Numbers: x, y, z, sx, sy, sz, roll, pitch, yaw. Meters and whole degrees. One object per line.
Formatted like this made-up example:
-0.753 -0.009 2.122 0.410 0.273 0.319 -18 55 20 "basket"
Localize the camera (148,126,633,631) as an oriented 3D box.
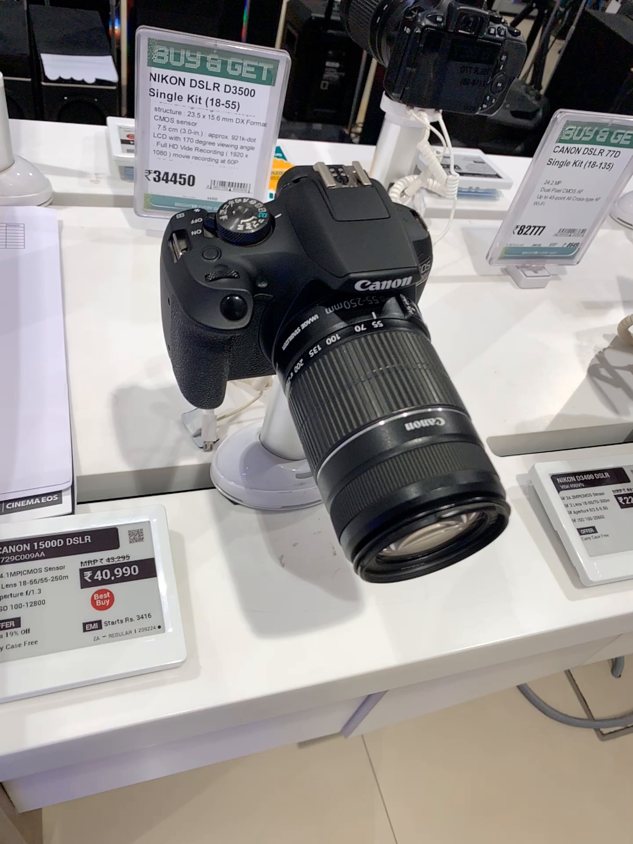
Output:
0.012 -0.034 0.278 0.130 0.090 0.190 -8 52 -22 "camera"
